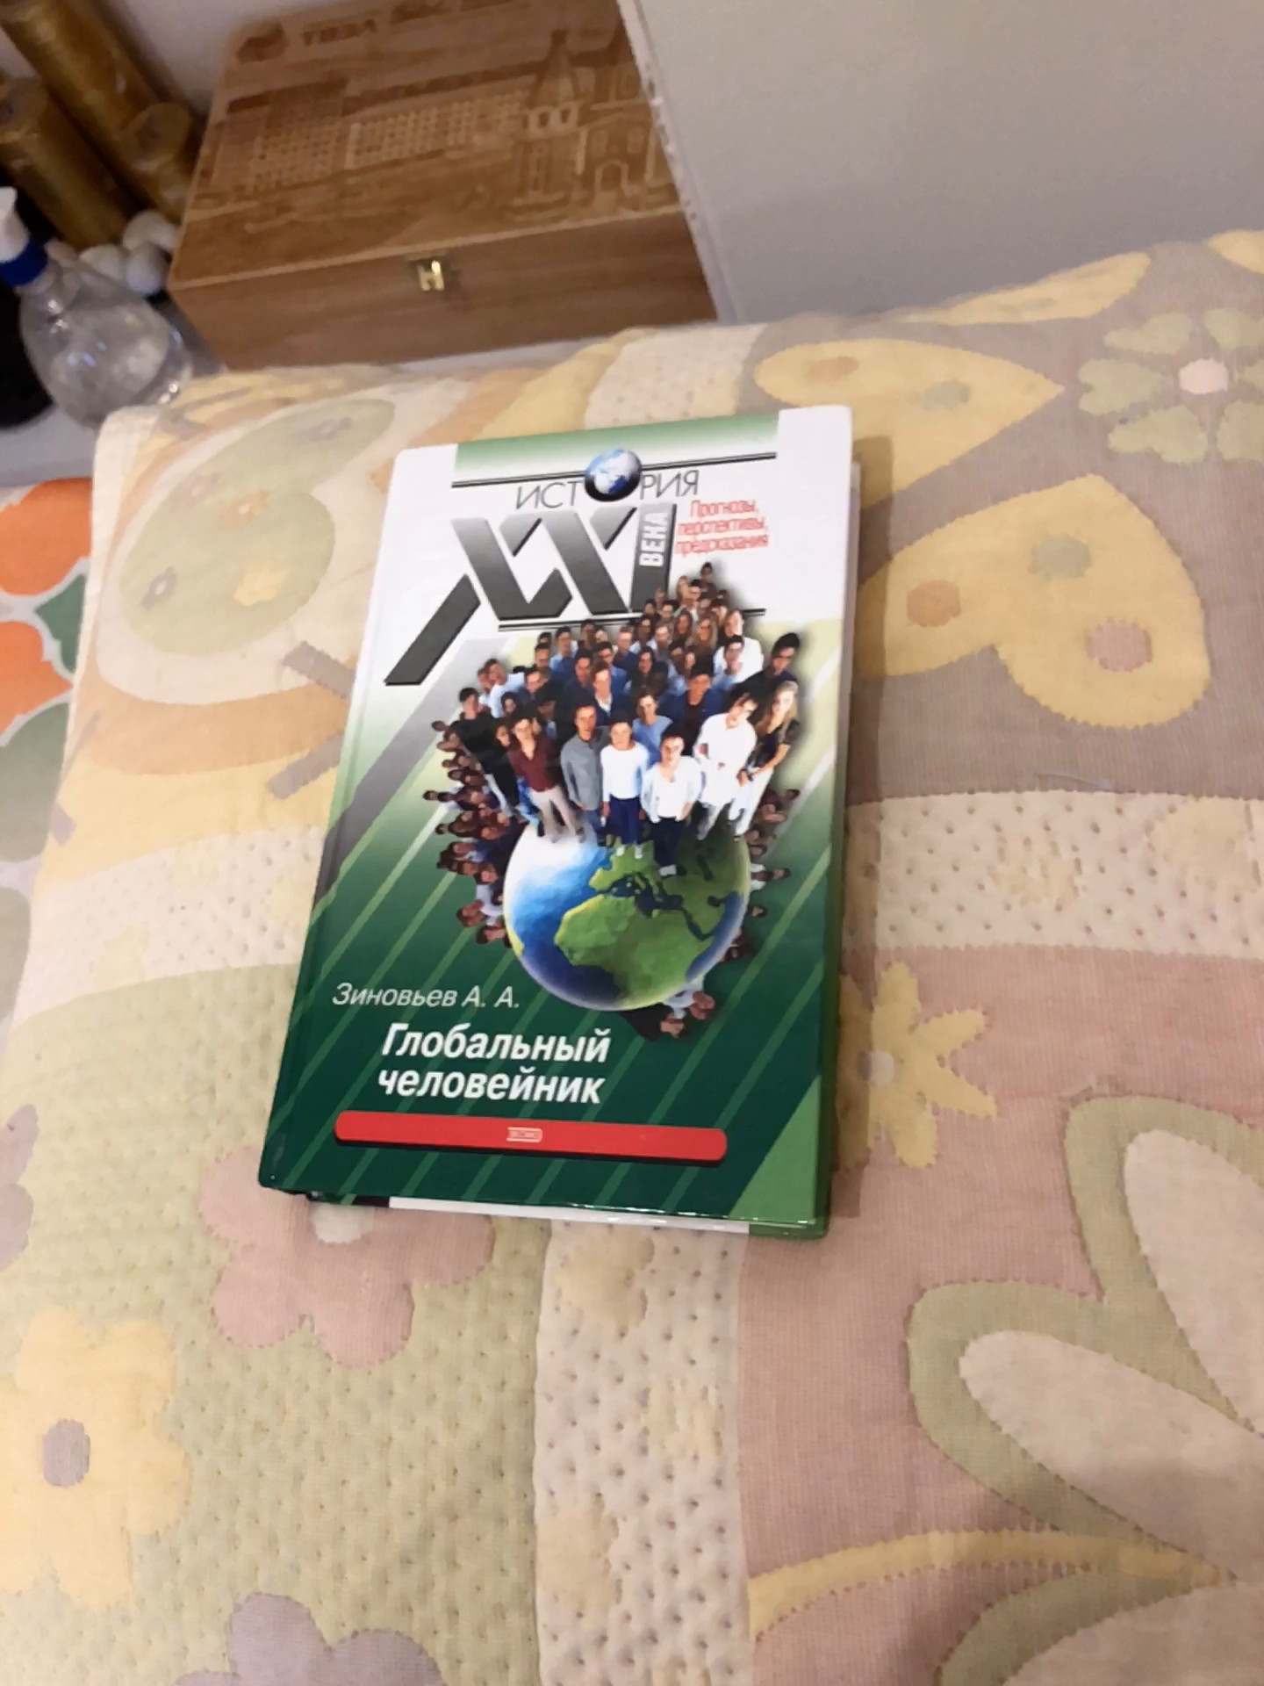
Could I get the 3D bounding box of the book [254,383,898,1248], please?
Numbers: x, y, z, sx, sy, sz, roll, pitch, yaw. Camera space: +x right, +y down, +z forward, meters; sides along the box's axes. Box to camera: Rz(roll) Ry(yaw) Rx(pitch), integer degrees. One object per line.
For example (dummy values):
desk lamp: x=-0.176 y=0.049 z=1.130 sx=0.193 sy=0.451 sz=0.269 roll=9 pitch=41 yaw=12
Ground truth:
book: x=-0.006 y=-0.013 z=0.350 sx=0.133 sy=0.036 sz=0.207 roll=0 pitch=68 yaw=17
